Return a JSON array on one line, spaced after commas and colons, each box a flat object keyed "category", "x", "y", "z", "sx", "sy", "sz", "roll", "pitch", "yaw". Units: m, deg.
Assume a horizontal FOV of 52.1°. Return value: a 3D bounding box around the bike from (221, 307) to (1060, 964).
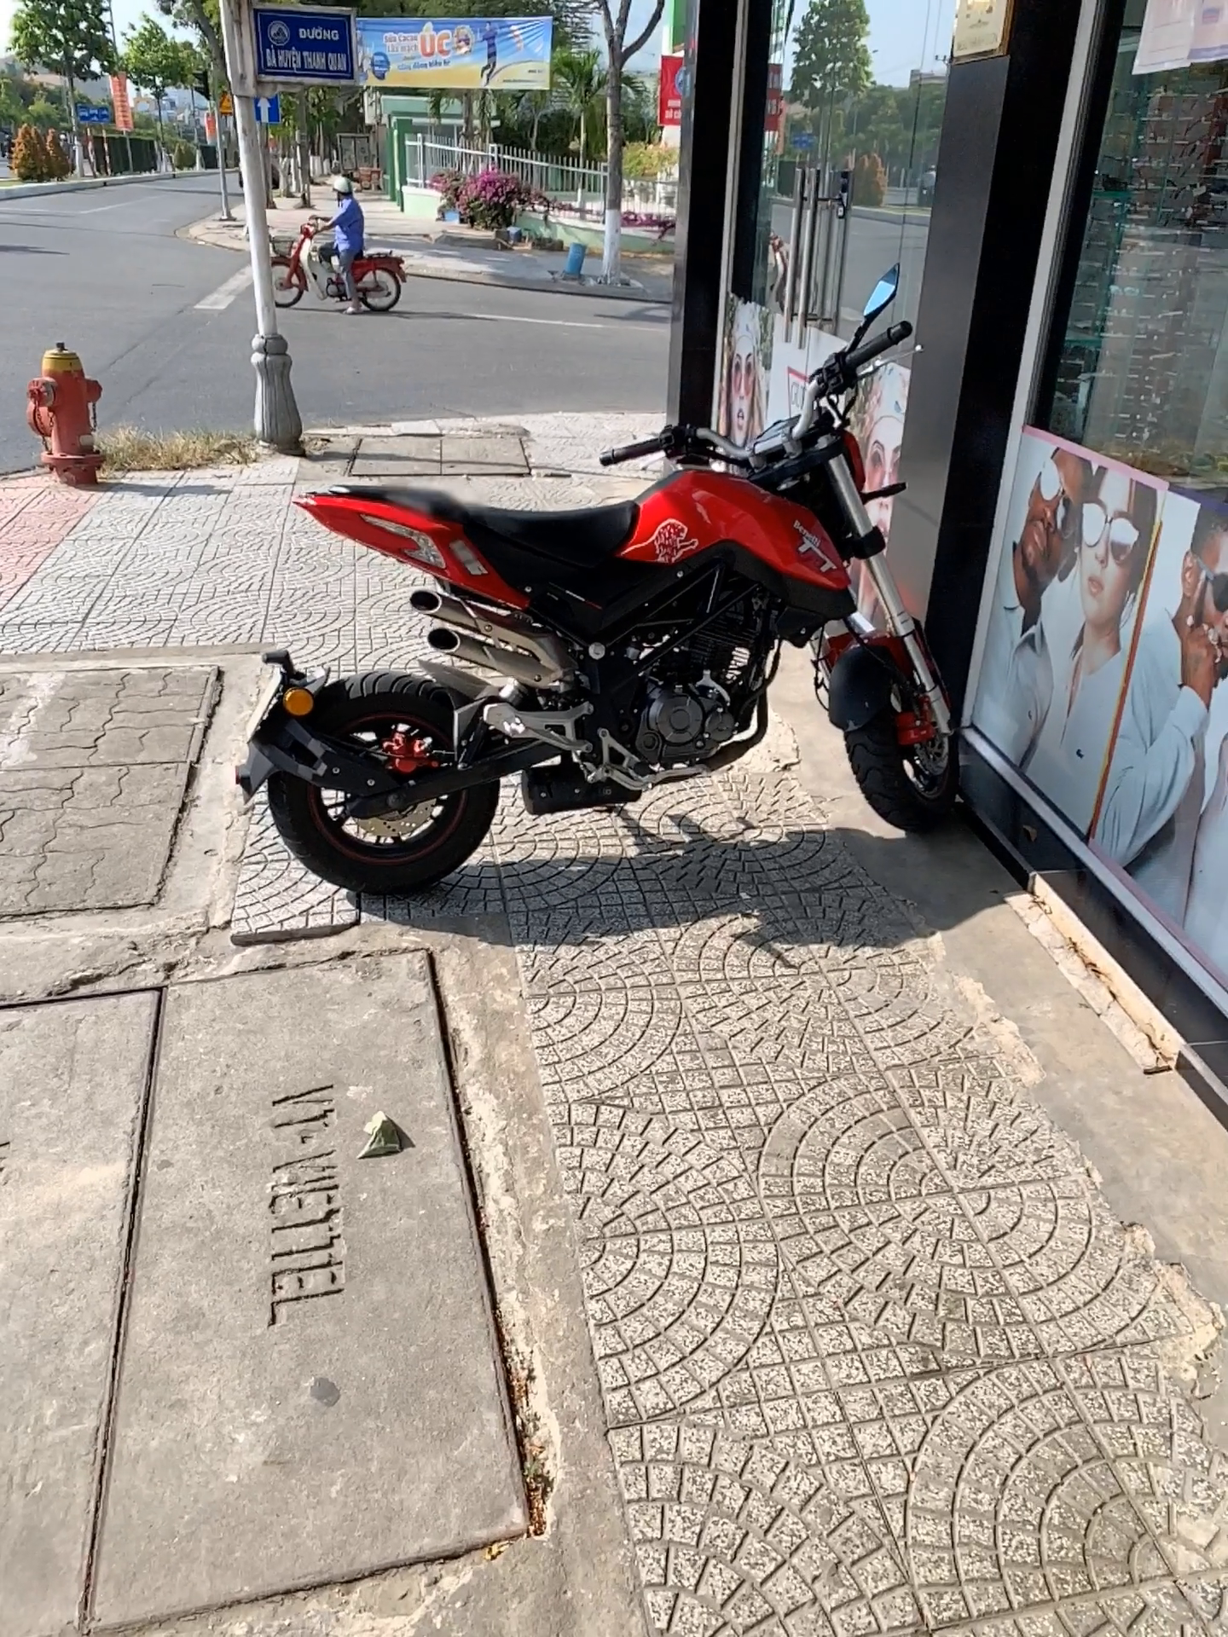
[{"category": "bike", "x": 0.109, "y": -0.642, "z": 3.289, "sx": 2.122, "sy": 1.216, "sz": 0.835, "roll": -13, "pitch": 30, "yaw": -28}]
